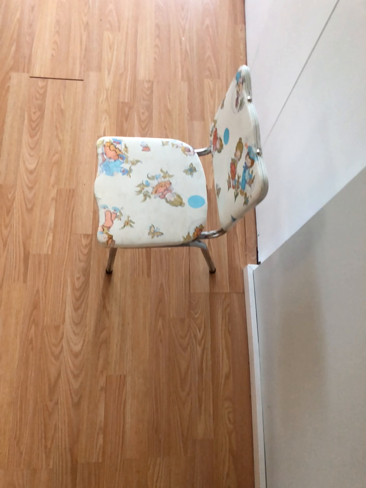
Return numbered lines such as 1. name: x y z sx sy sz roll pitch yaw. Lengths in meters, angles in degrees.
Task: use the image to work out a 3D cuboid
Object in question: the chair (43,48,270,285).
1. chair: -0.075 -0.133 1.008 0.390 0.560 0.350 -2 72 -6
